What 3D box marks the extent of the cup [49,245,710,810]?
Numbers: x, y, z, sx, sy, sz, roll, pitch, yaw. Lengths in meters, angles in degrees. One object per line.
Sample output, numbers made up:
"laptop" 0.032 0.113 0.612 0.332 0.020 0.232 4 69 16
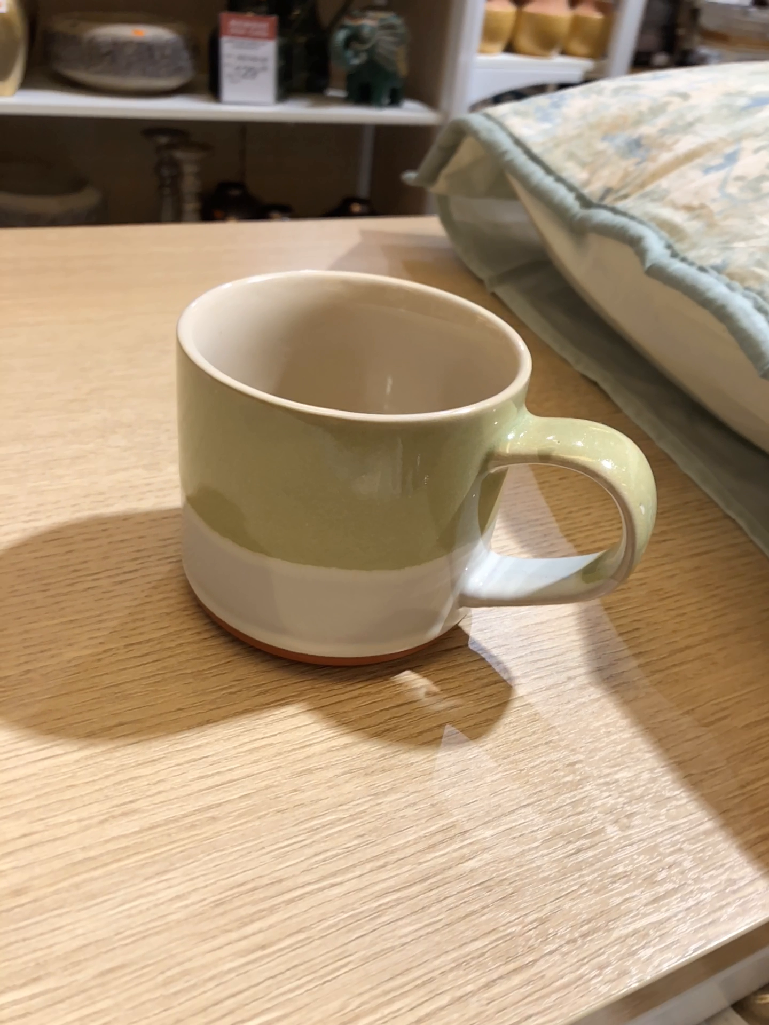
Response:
"cup" 0.004 -0.007 0.237 0.140 0.079 0.101 16 35 13
